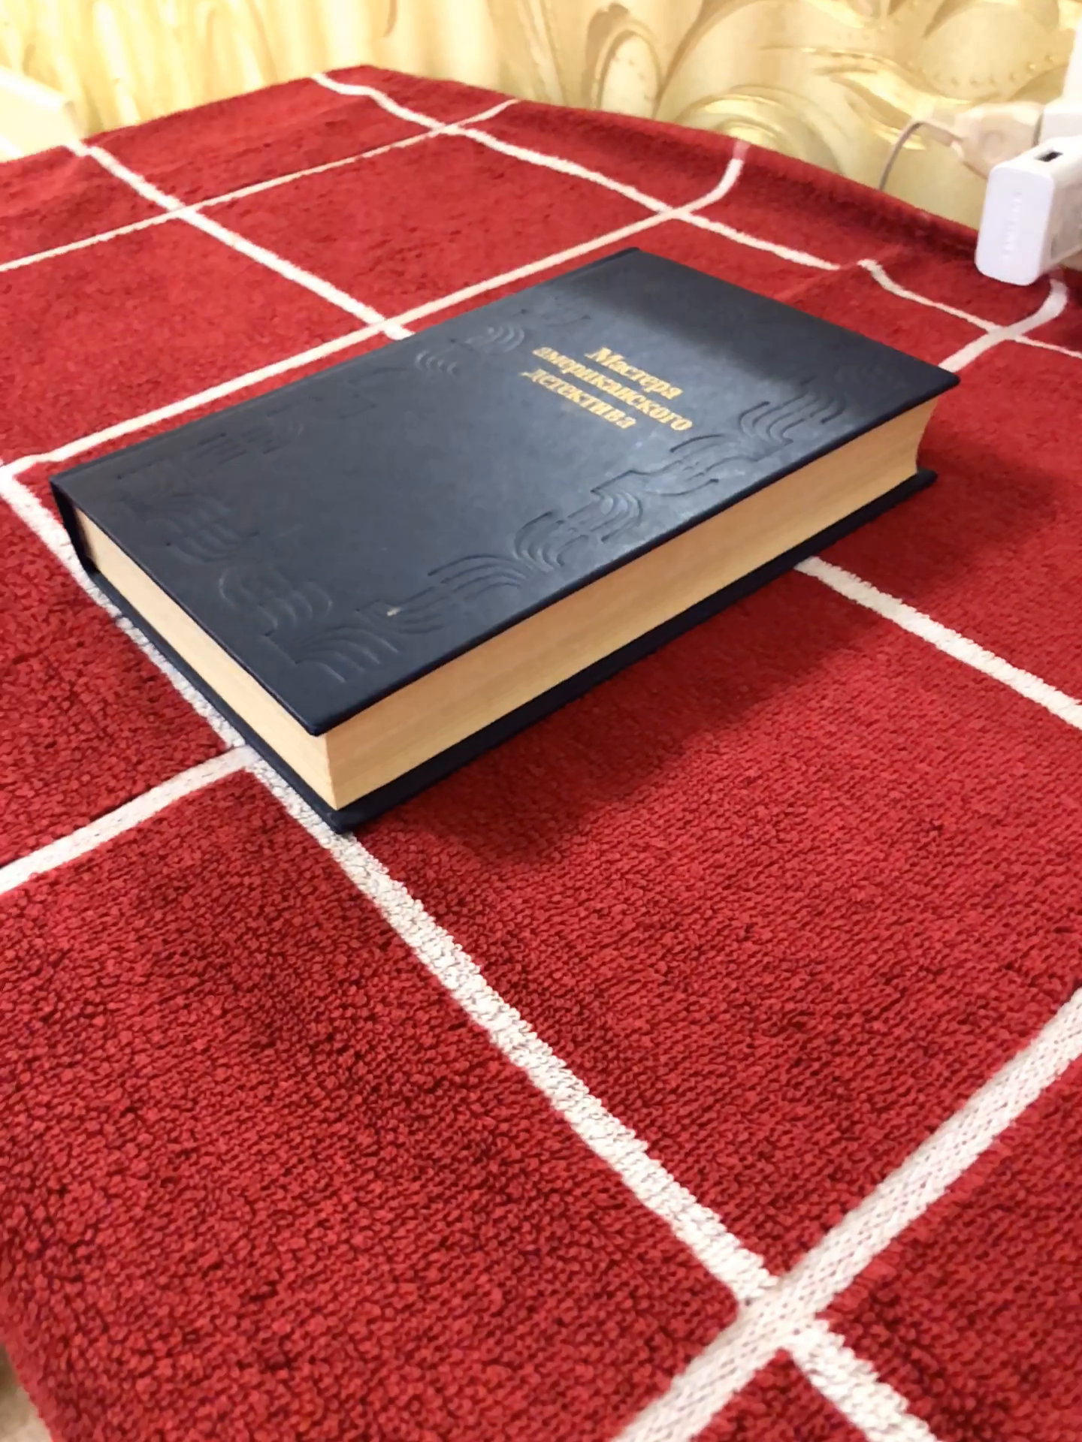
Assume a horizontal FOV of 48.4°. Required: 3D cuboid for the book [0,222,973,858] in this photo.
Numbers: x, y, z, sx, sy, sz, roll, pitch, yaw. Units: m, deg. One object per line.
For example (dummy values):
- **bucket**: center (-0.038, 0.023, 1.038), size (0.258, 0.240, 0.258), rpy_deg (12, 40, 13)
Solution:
- **book**: center (-0.013, -0.066, 0.306), size (0.193, 0.030, 0.143), rpy_deg (-31, 49, -26)
